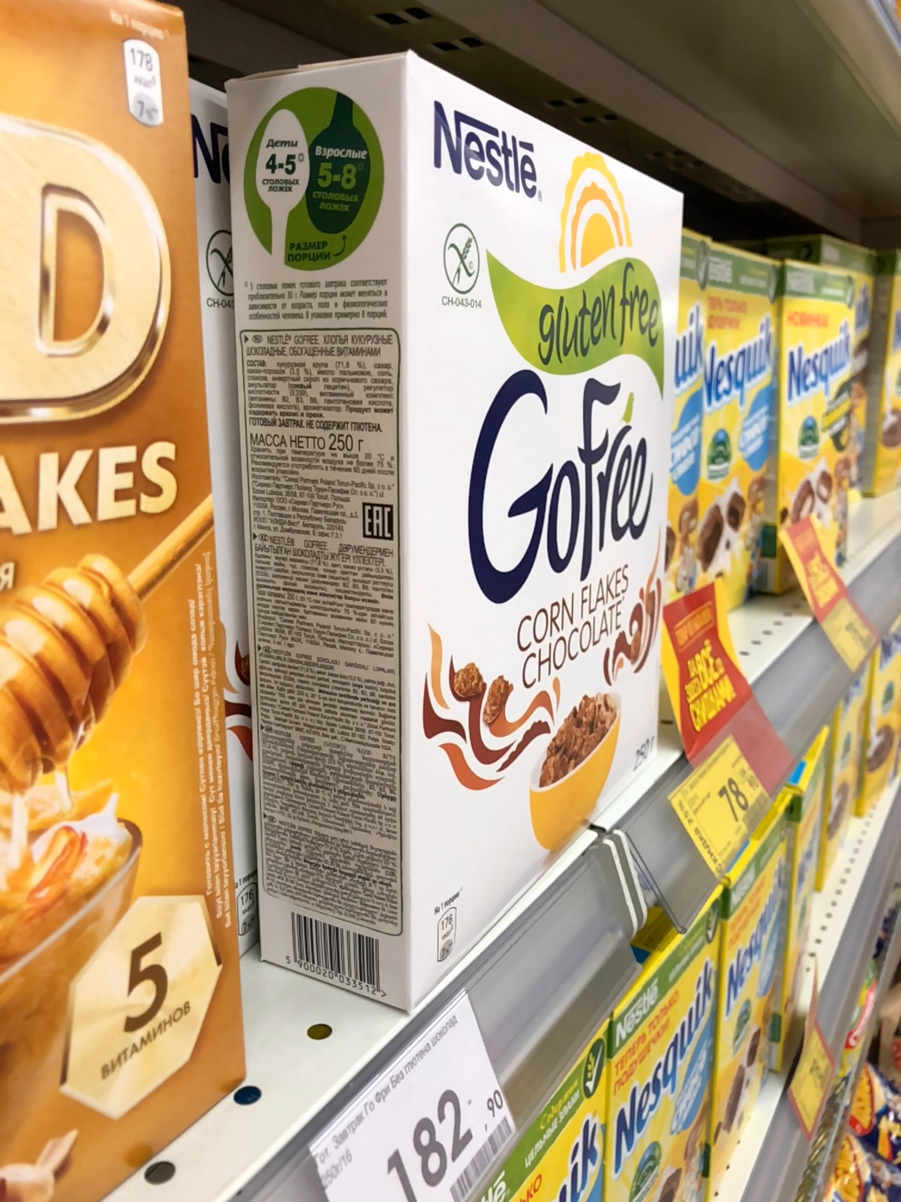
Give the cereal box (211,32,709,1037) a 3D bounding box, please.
[{"bbox_3d":[0.021,-0.025,0.313,0.050,0.219,0.201,7,14,30],"label":"cereal box"}]
